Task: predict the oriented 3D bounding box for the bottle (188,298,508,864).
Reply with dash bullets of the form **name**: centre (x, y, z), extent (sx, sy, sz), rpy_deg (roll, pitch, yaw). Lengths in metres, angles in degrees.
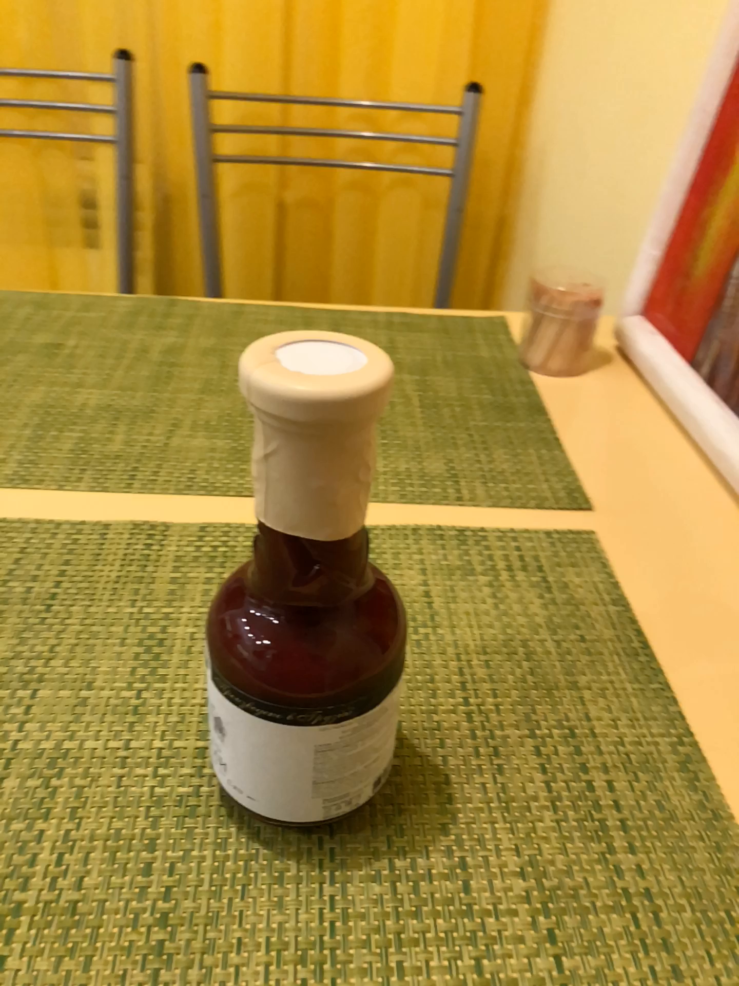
- **bottle**: centre (-0.015, 0.030, 0.252), extent (0.070, 0.159, 0.070), rpy_deg (3, 33, -2)
